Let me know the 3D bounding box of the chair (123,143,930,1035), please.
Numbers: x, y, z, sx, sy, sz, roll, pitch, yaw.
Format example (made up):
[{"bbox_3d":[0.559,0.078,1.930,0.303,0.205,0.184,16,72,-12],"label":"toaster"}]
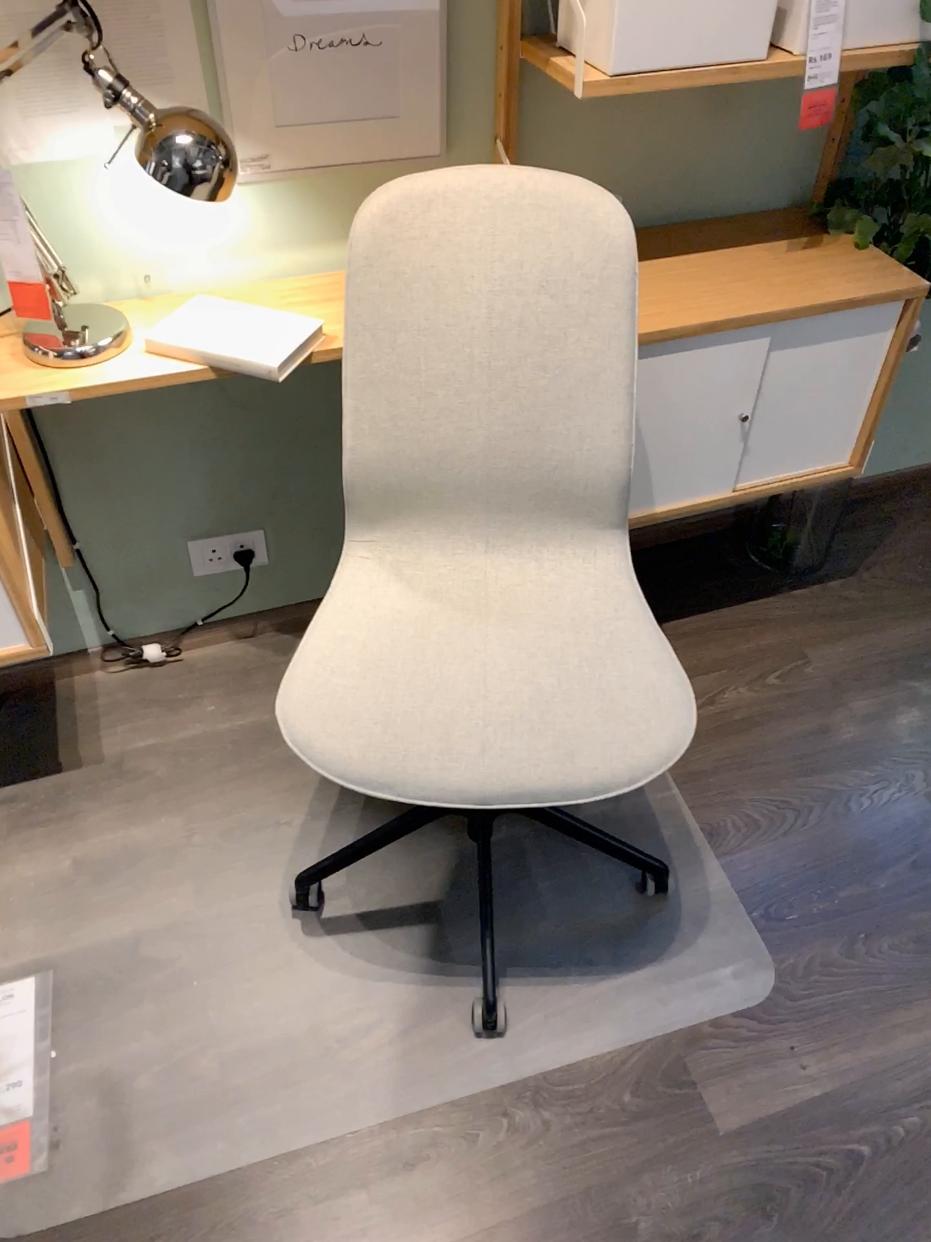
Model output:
[{"bbox_3d":[0.077,0.008,1.219,0.620,0.966,0.623,2,44,1],"label":"chair"}]
